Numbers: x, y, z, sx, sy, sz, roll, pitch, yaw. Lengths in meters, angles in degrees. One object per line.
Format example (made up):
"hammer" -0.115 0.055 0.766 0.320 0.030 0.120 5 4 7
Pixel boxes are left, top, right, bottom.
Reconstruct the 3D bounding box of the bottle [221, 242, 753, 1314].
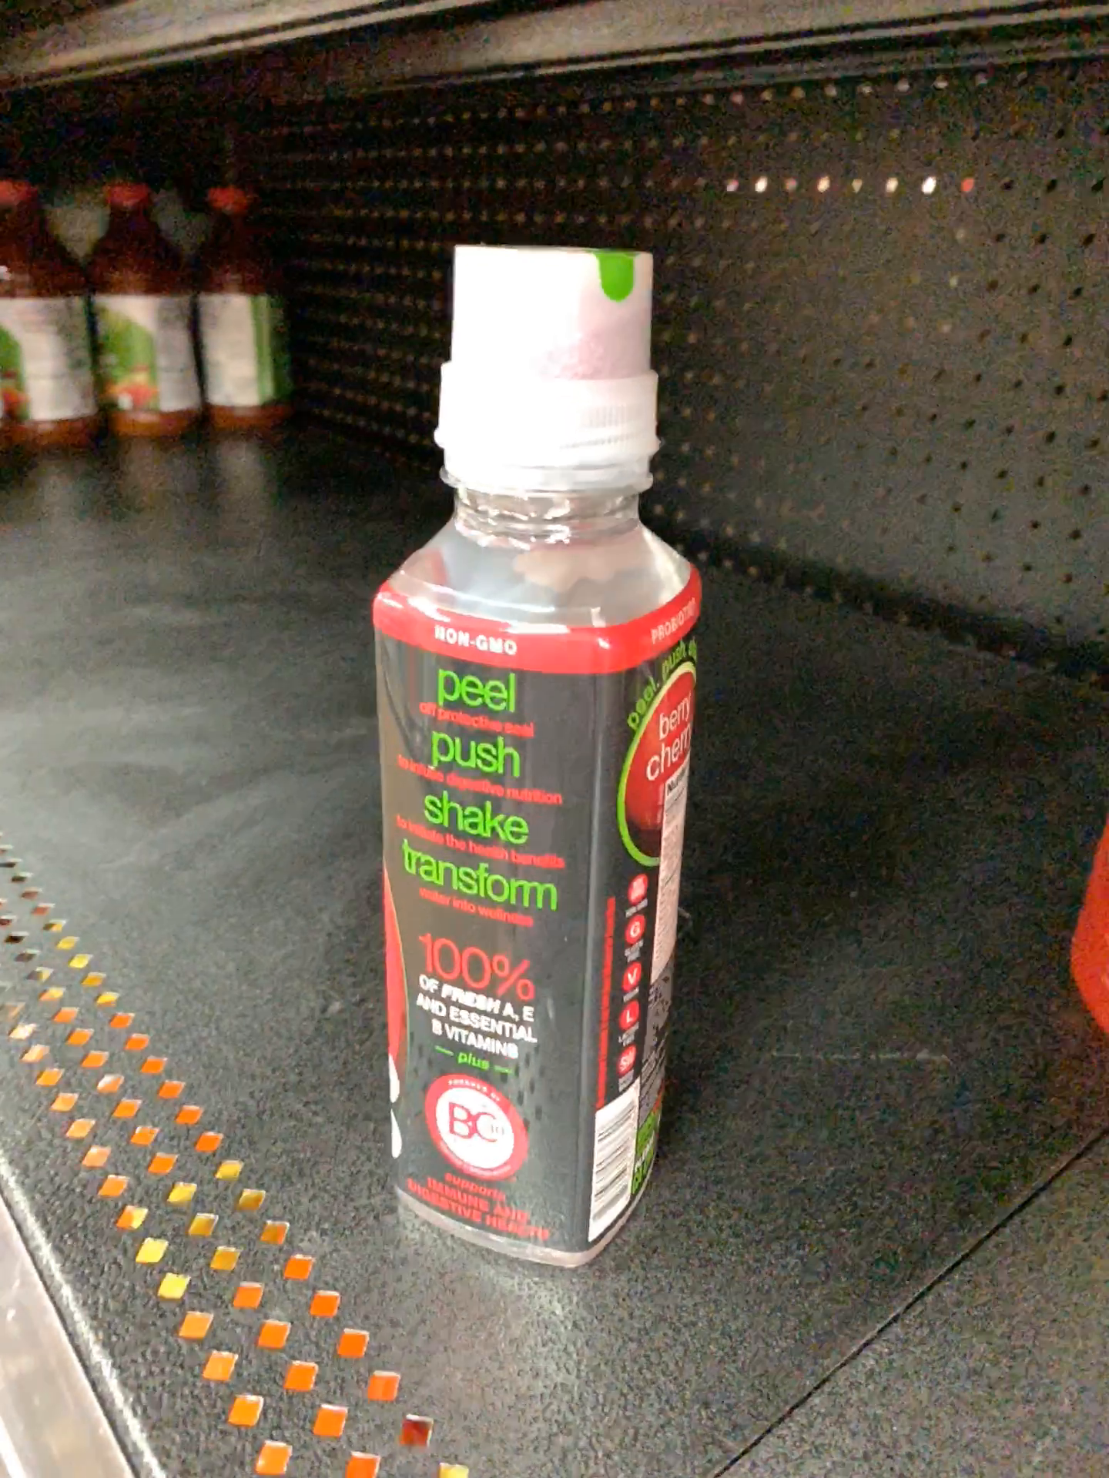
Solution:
"bottle" -0.009 0.009 0.246 0.070 0.209 0.069 1 25 0
